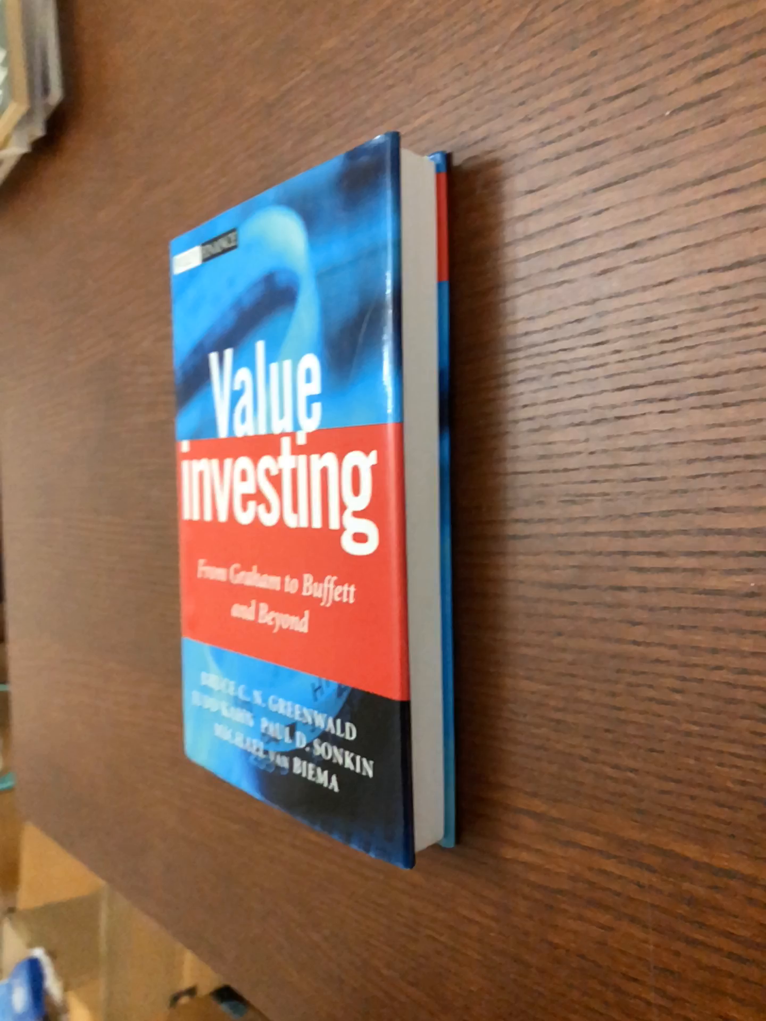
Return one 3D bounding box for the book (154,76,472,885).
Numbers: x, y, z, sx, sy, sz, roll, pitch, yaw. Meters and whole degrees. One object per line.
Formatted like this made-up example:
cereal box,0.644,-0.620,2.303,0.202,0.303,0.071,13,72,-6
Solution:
book,-0.036,-0.009,0.315,0.171,0.020,0.230,3,95,50
